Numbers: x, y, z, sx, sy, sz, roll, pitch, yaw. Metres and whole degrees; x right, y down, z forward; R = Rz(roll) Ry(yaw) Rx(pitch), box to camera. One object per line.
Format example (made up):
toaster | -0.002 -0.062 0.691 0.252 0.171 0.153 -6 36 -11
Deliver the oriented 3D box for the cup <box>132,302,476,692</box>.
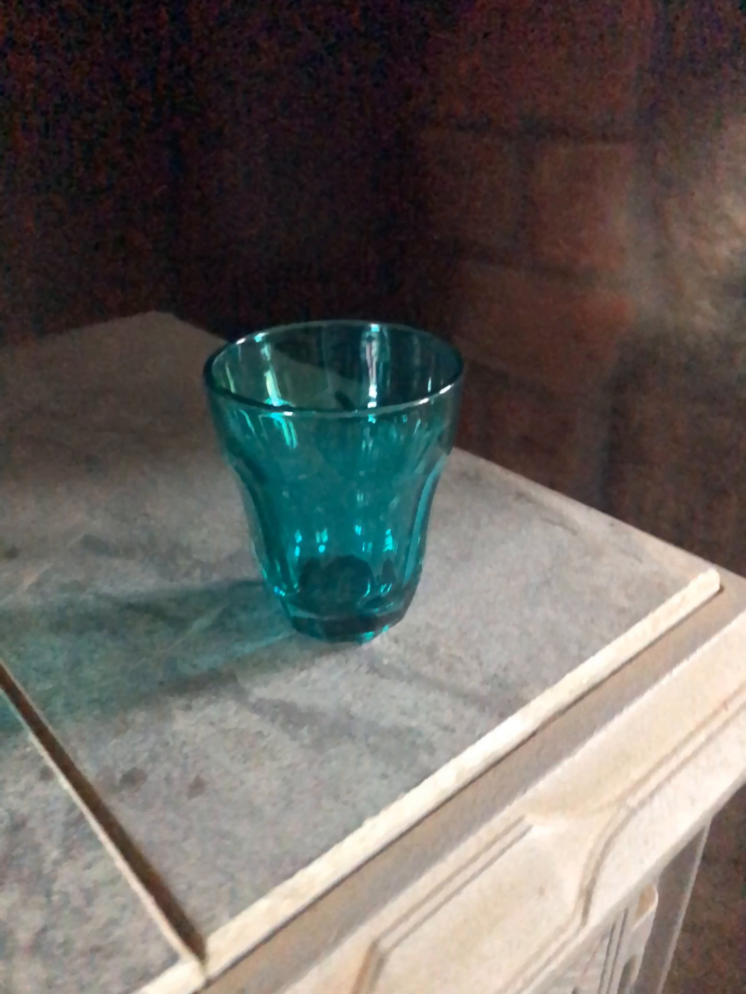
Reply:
cup | -0.014 -0.004 0.240 0.070 0.080 0.070 -1 30 0
